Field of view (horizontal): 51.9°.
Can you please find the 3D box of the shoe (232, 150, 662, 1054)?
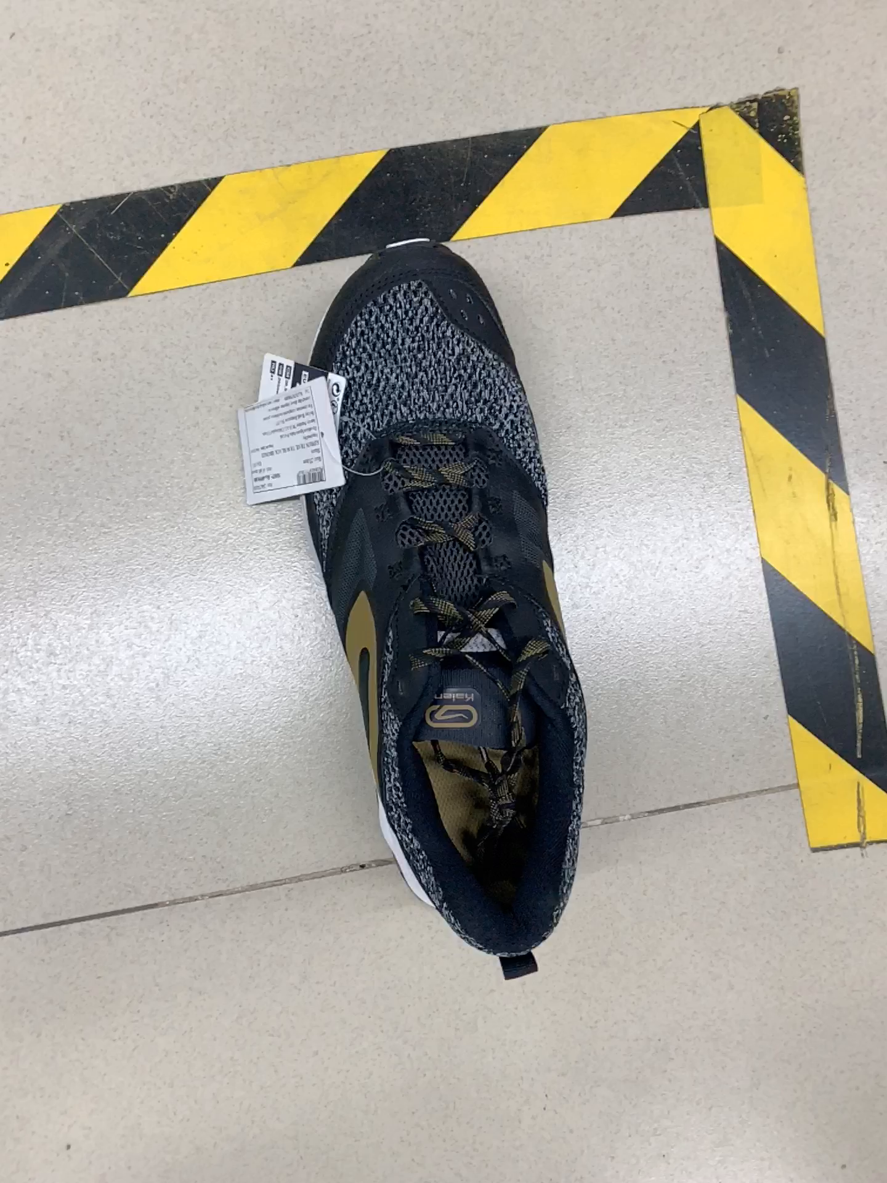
[{"bbox_3d":[0.000,0.003,0.364,0.110,0.100,0.300,-8,91,-2],"label":"shoe"}]
